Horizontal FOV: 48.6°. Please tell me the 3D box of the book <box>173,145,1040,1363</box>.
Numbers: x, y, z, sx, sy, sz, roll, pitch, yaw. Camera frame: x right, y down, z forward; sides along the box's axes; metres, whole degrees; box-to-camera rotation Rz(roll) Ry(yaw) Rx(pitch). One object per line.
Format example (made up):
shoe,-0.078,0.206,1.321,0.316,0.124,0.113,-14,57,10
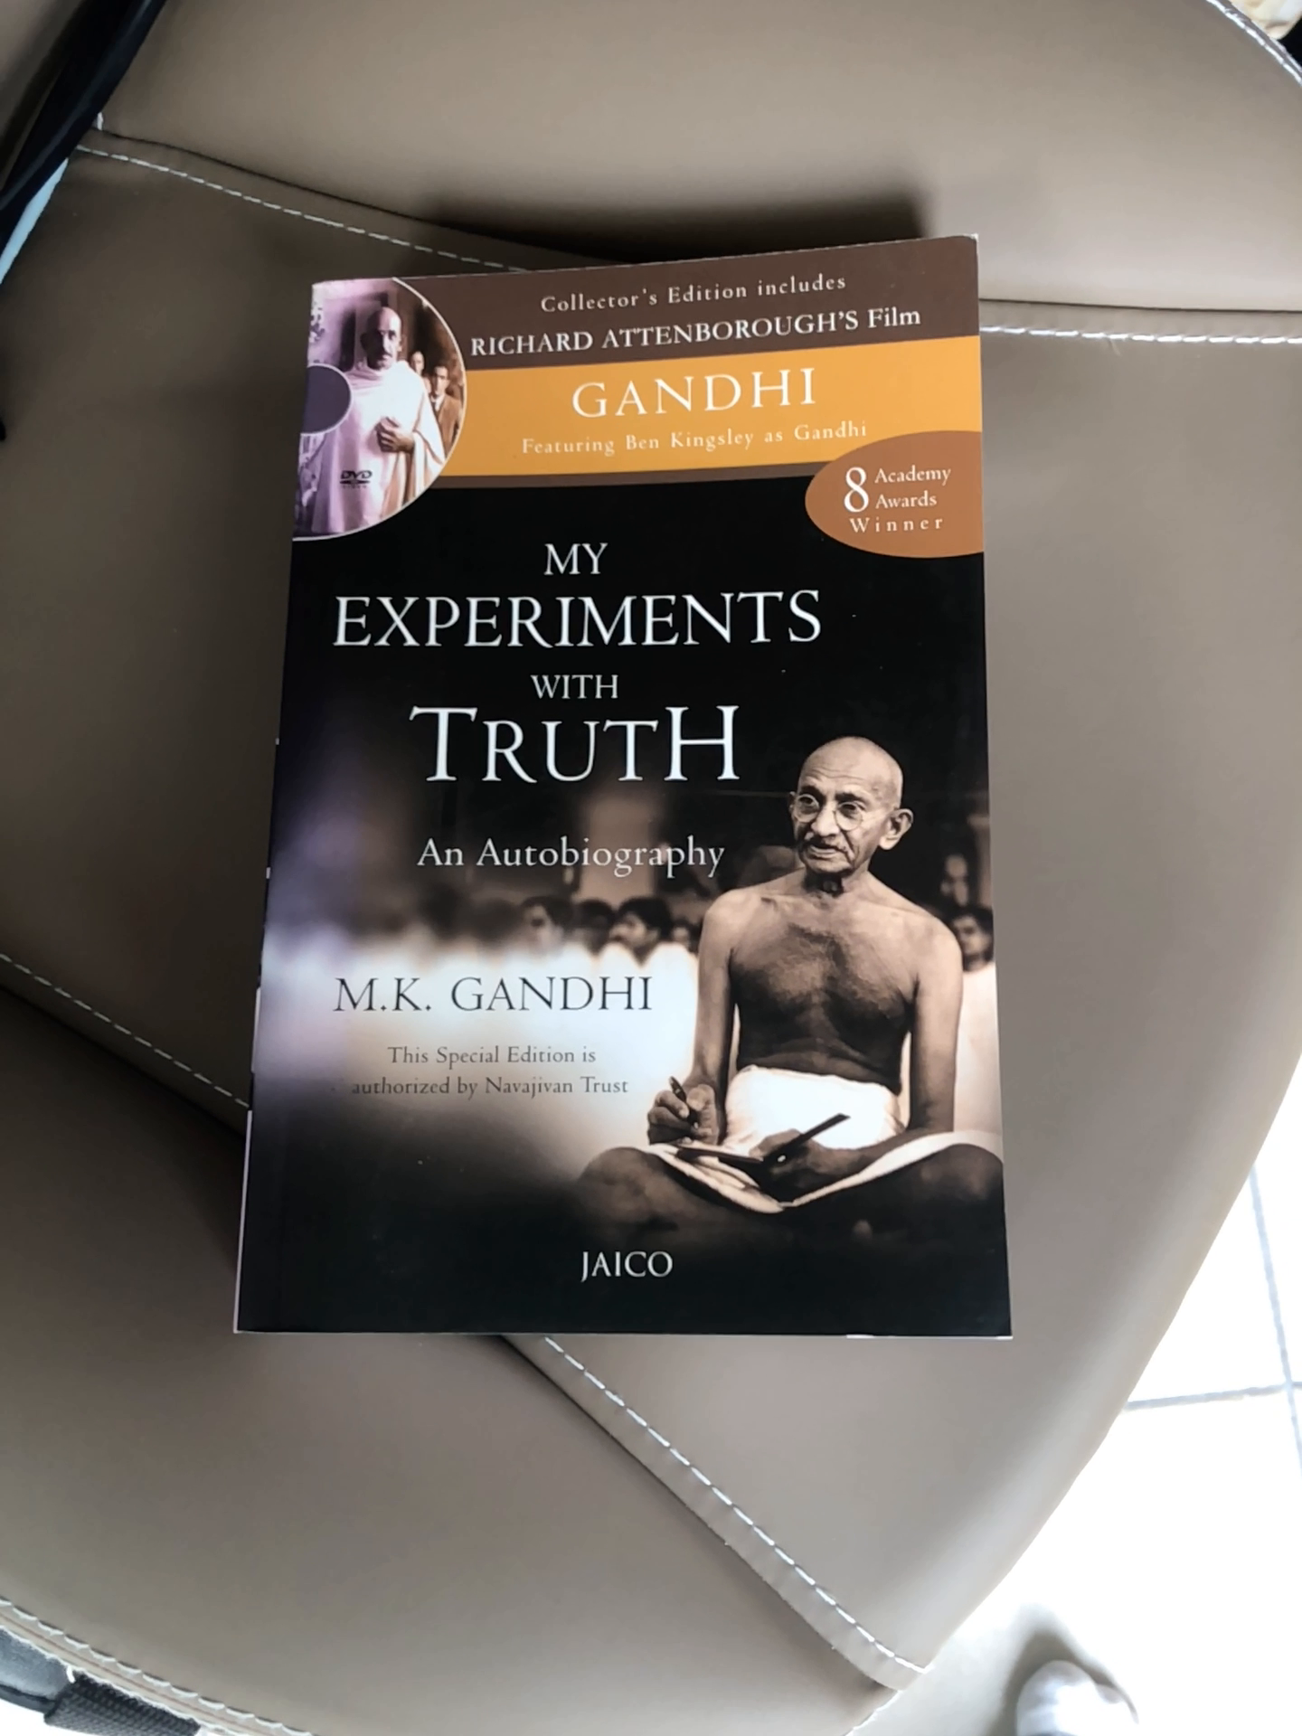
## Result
book,-0.006,-0.028,0.300,0.150,0.050,0.240,0,78,2
